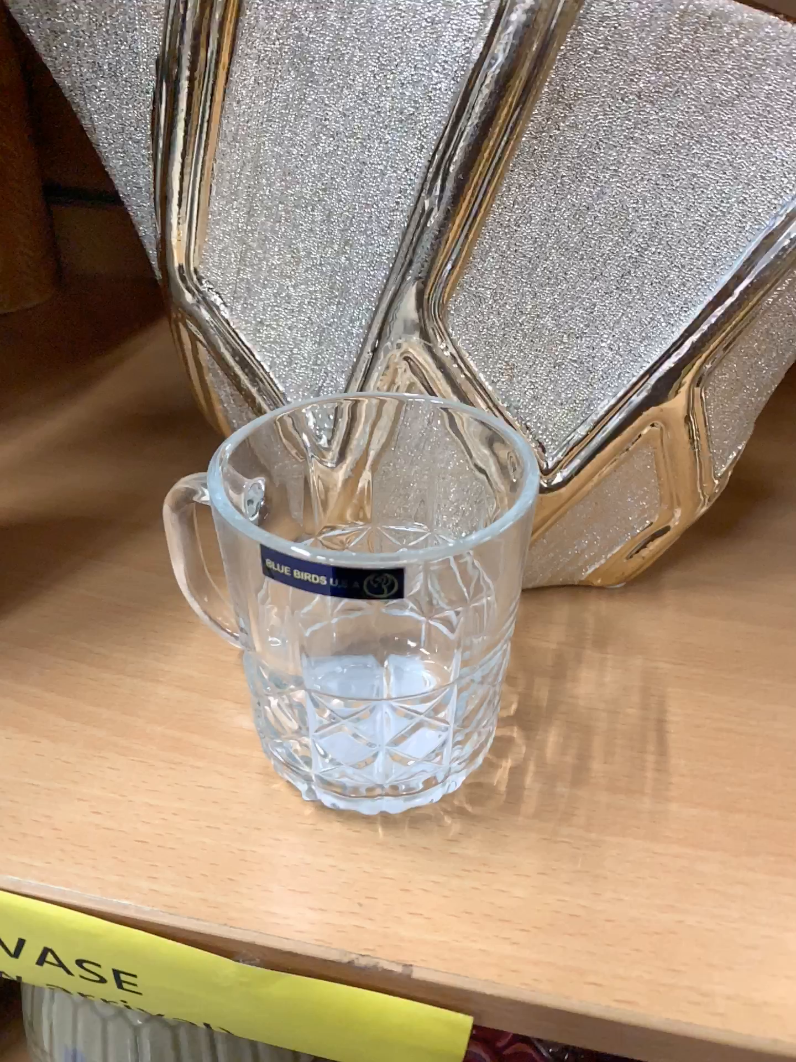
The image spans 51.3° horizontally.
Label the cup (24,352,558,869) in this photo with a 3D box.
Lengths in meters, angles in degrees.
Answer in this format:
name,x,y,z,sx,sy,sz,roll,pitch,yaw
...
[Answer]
name,x,y,z,sx,sy,sz,roll,pitch,yaw
cup,-0.019,0.016,0.210,0.100,0.090,0.070,10,35,12
